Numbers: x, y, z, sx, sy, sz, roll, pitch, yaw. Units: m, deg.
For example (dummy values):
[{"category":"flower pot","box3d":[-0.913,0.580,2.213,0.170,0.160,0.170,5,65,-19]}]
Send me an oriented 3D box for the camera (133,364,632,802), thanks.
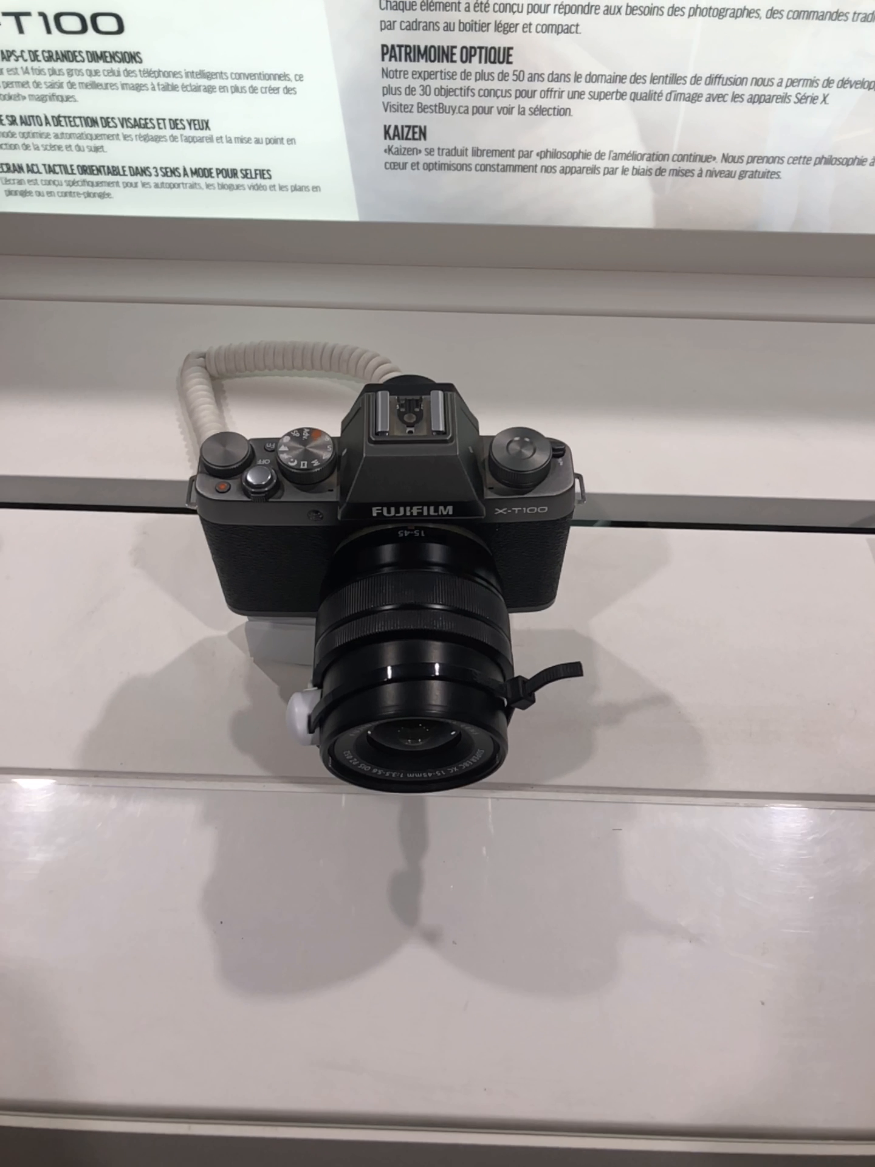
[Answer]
[{"category":"camera","box3d":[-0.013,0.000,0.325,0.130,0.099,0.108,0,50,1]}]
